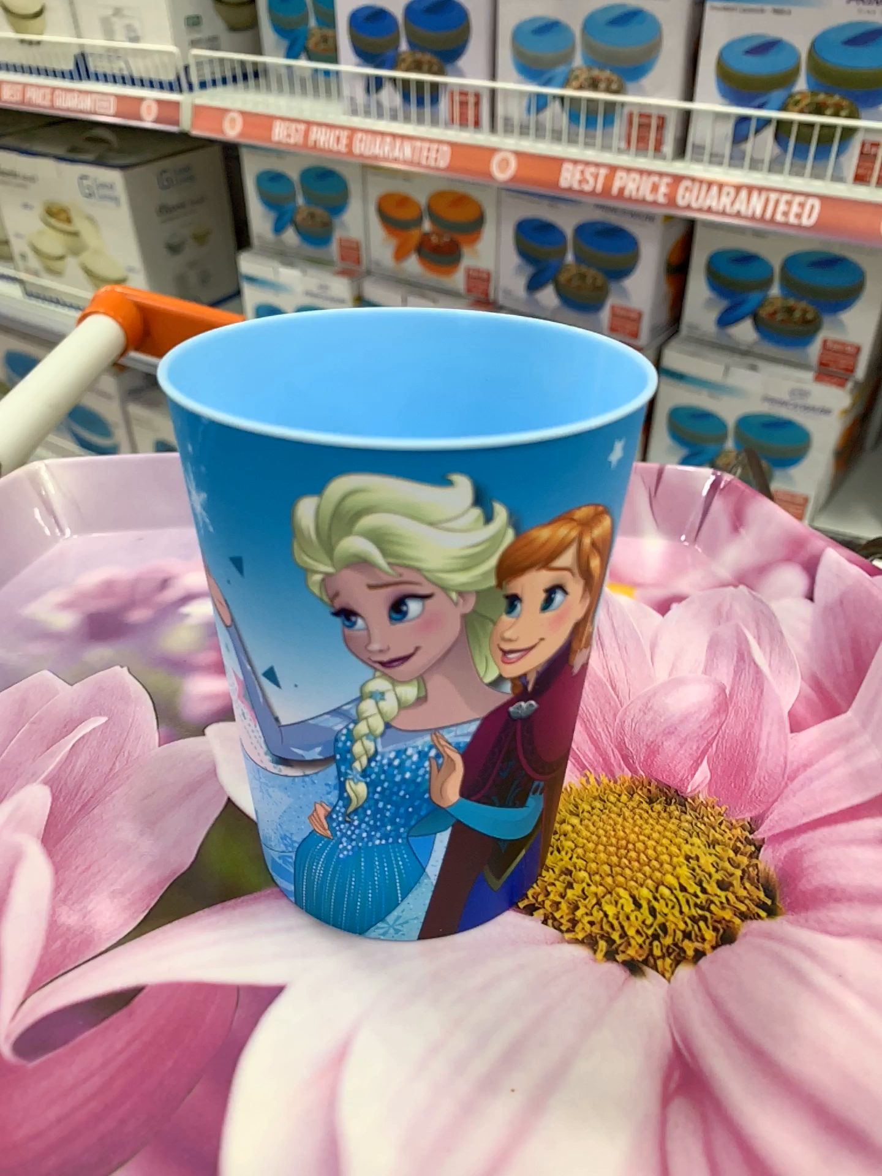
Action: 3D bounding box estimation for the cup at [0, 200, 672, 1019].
[{"bbox_3d":[-0.014,0.001,0.157,0.080,0.109,0.060,13,36,20],"label":"cup"}]
